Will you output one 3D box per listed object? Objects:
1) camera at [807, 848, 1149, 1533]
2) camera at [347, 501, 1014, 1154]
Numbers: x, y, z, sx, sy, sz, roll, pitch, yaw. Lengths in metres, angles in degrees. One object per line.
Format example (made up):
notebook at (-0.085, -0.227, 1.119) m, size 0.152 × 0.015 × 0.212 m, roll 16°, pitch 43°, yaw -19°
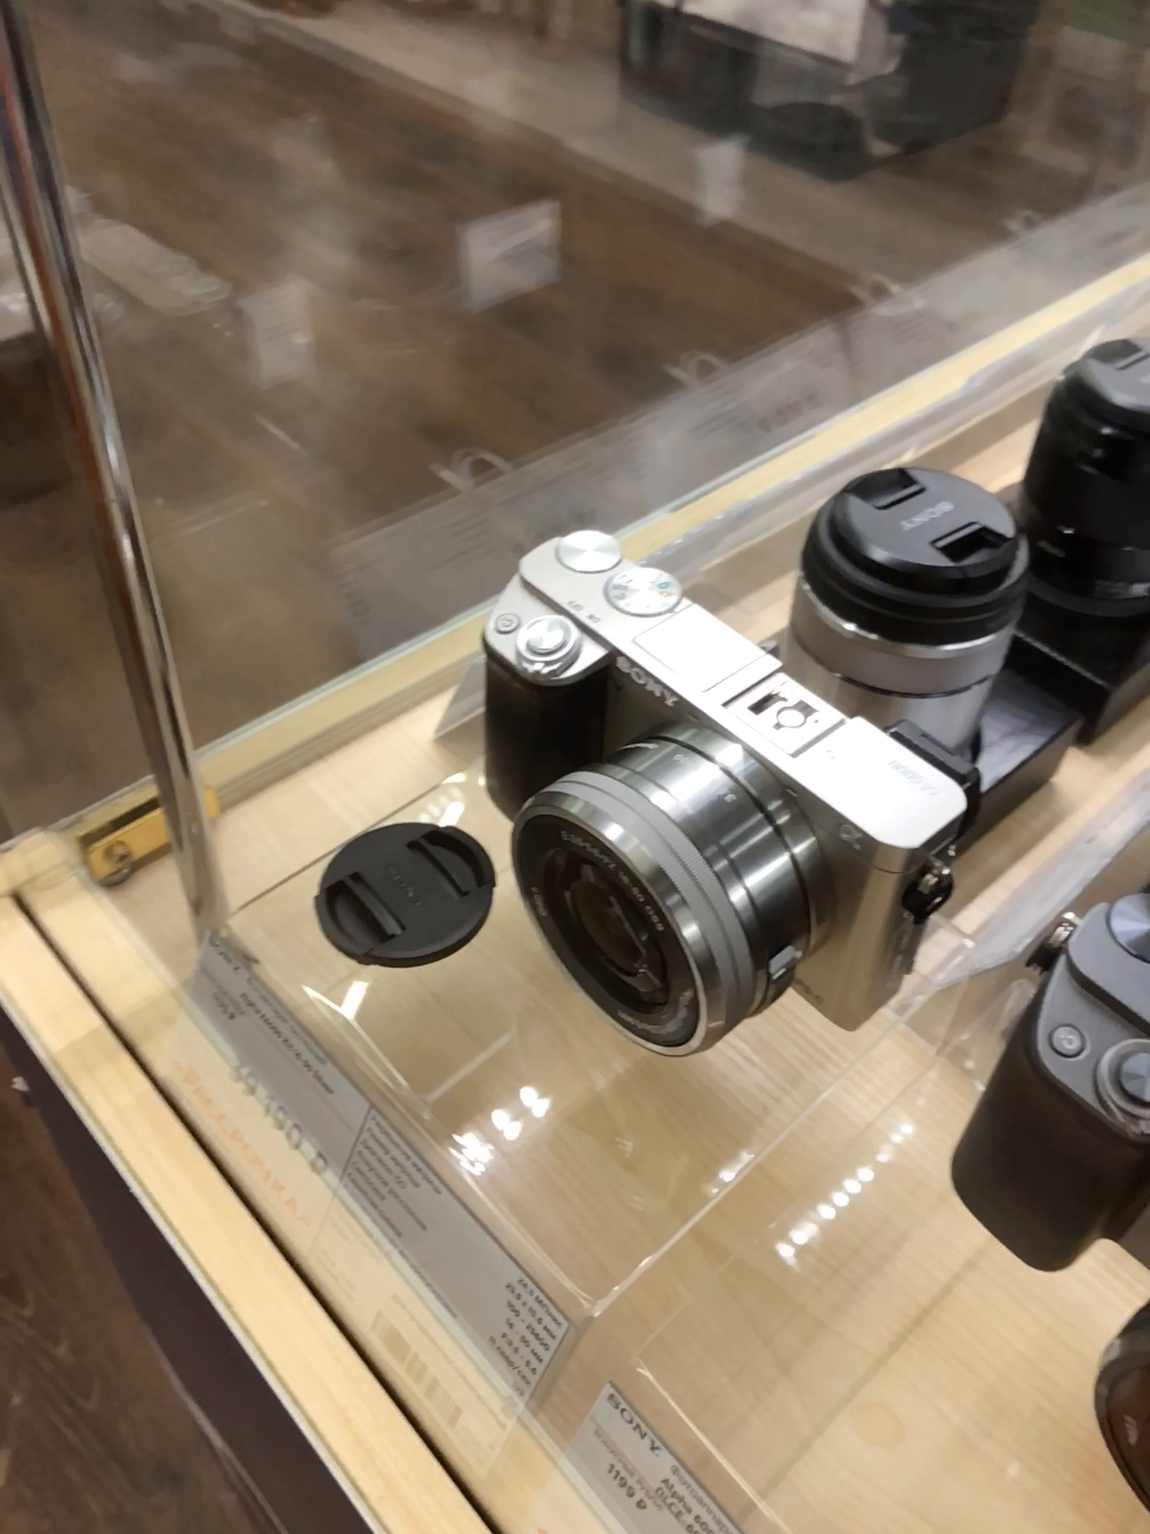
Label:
camera at (0.117, 0.089, 0.216) m, size 0.076 × 0.061 × 0.127 m, roll -31°, pitch 54°, yaw -28°
camera at (0.018, 0.007, 0.291) m, size 0.076 × 0.061 × 0.124 m, roll -31°, pitch 54°, yaw -28°
